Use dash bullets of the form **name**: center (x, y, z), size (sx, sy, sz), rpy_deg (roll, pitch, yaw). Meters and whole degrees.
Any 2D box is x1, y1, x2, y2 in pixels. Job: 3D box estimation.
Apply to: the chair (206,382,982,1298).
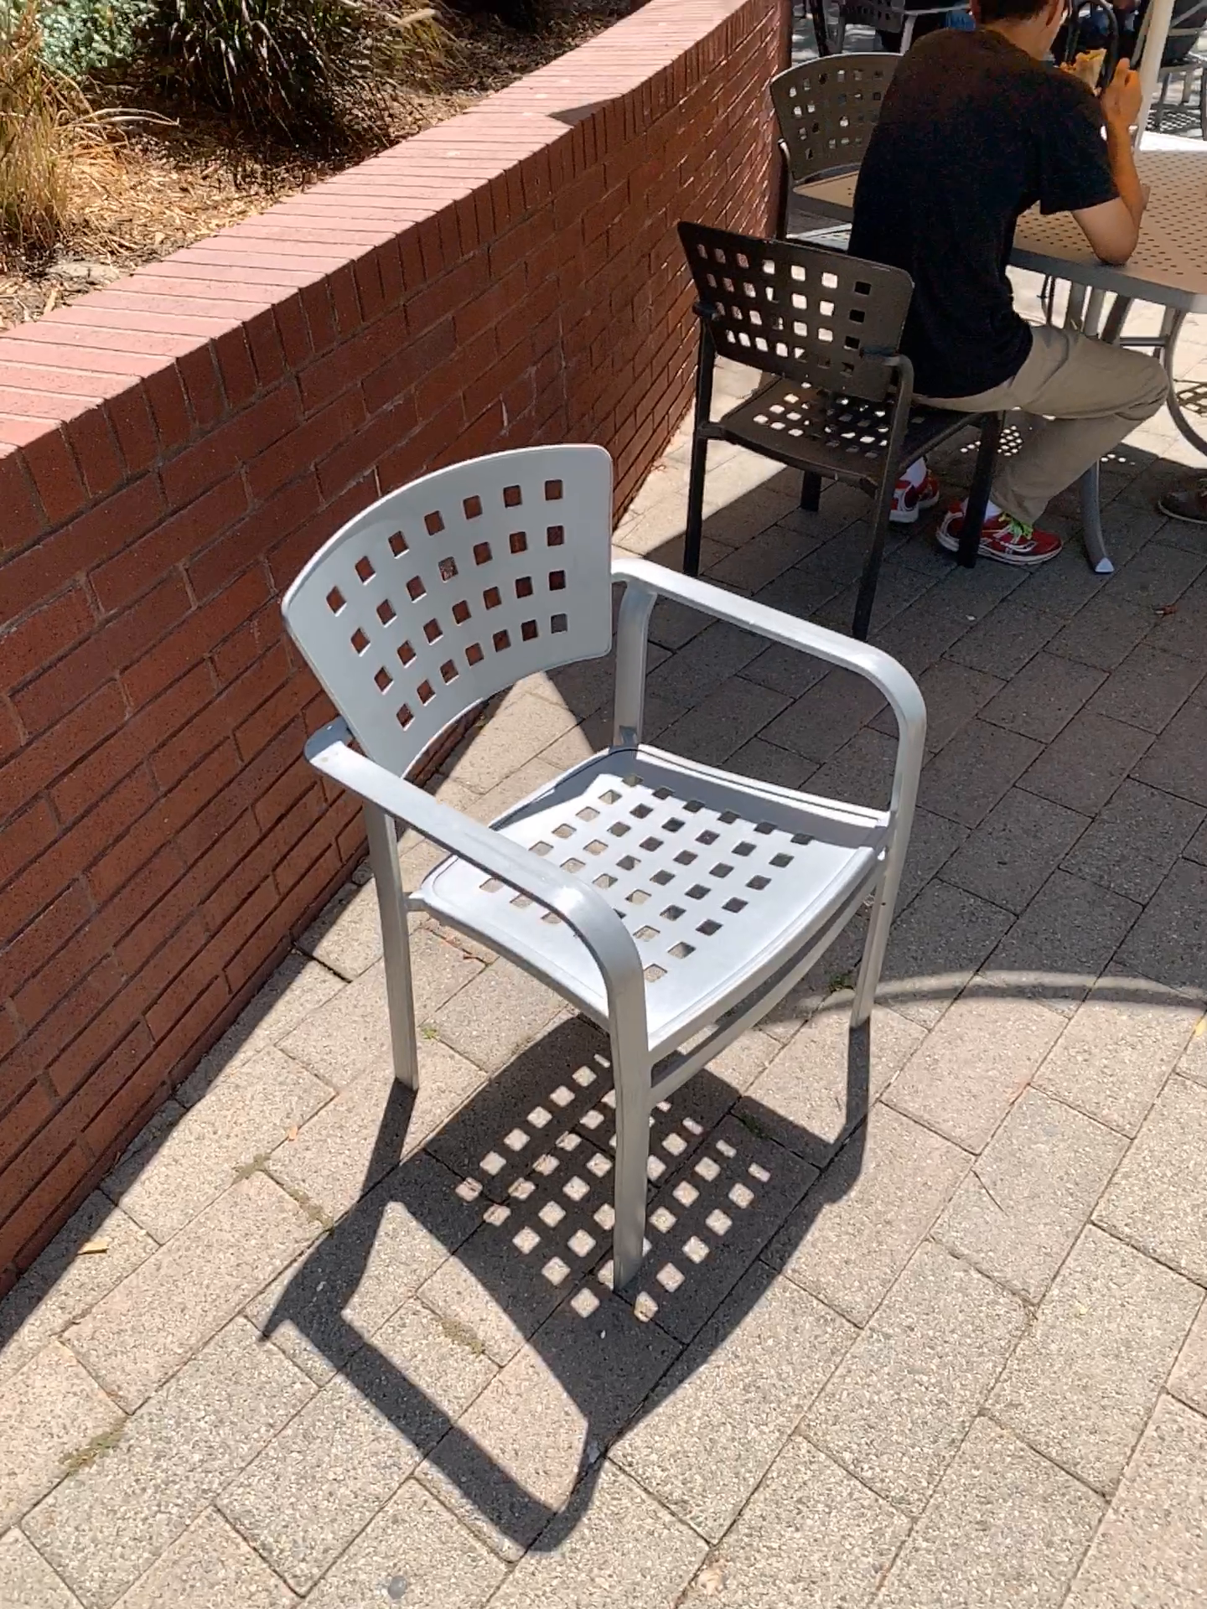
- **chair**: center (0.017, 0.016, 1.403), size (0.493, 0.718, 0.558), rpy_deg (25, 47, 31)
